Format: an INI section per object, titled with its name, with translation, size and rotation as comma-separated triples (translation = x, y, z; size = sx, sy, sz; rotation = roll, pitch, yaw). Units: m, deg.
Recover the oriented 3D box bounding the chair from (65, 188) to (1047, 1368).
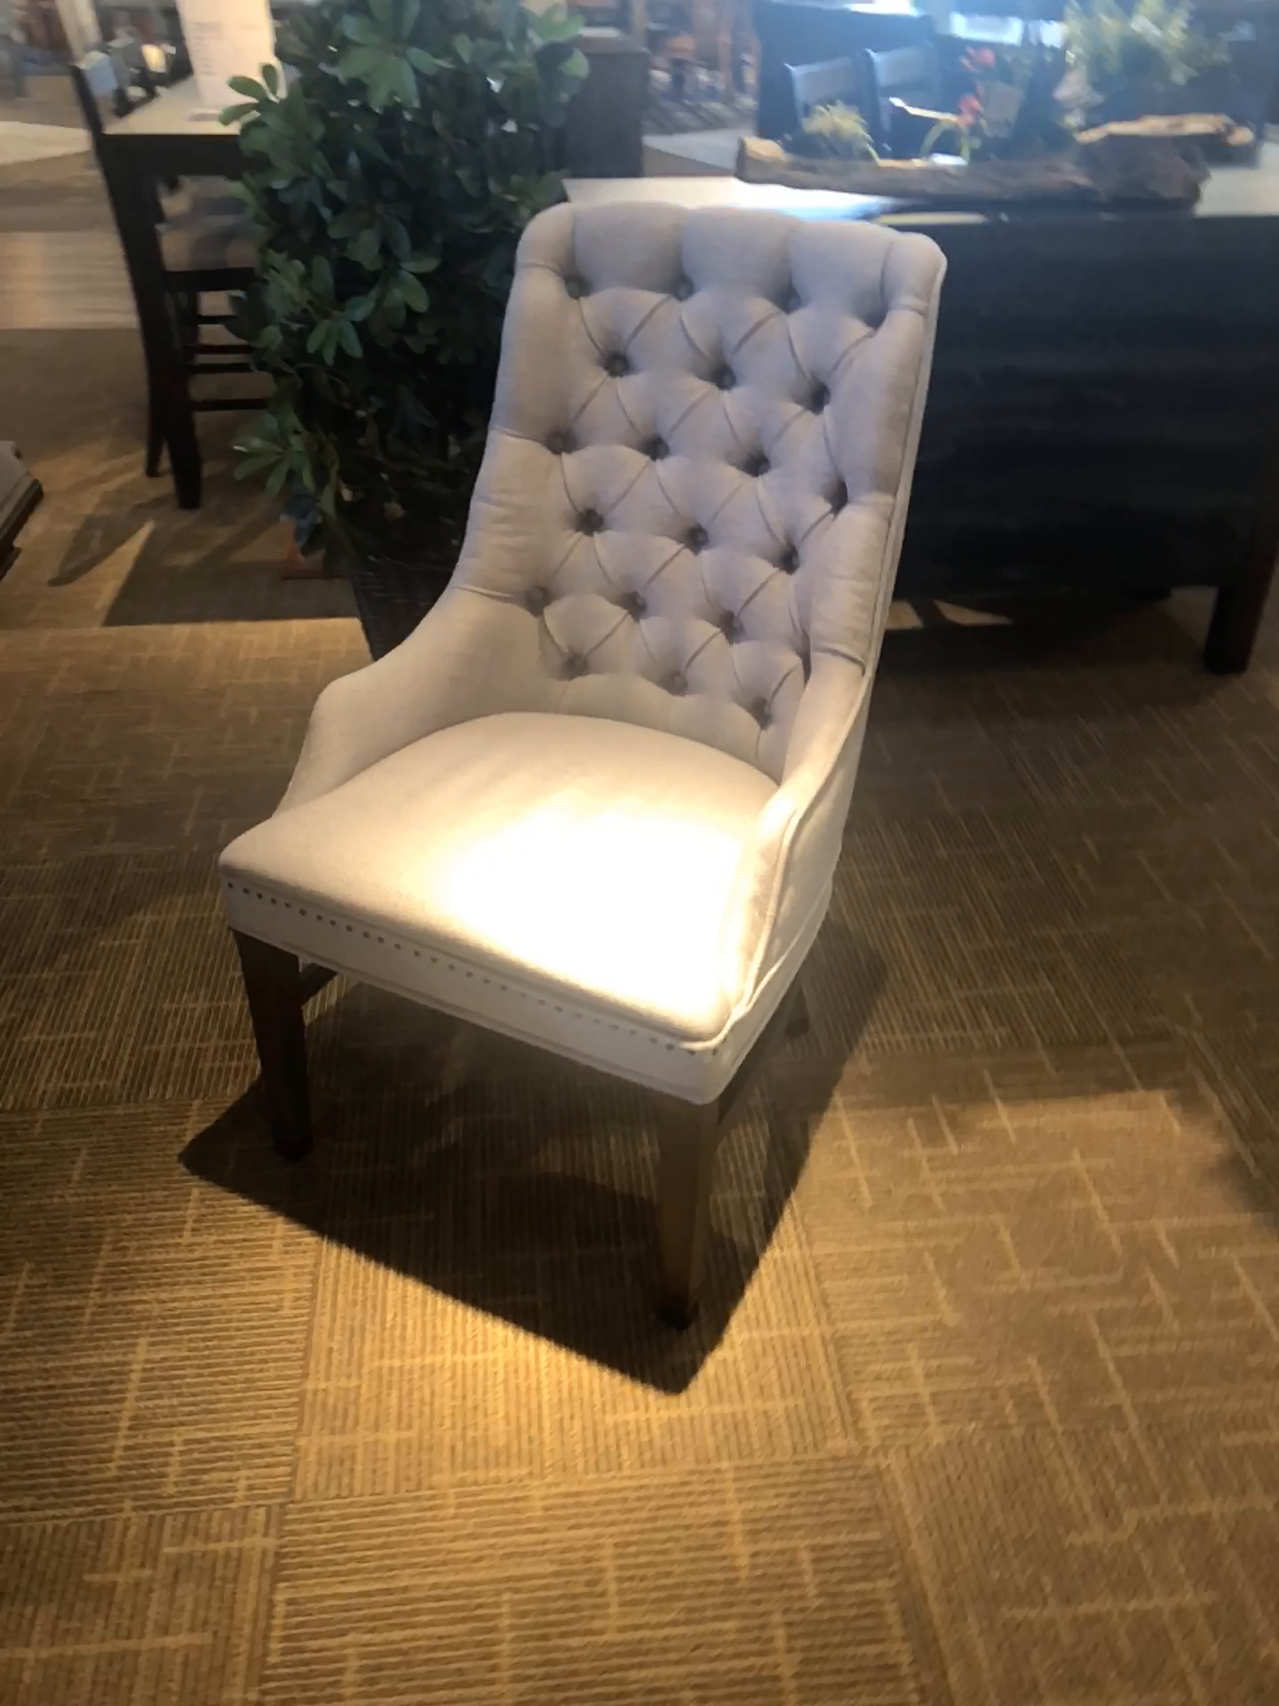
[chair]
translation = -0.033, -0.141, 1.636
size = 0.640, 1.015, 0.764
rotation = 18, 38, 24
